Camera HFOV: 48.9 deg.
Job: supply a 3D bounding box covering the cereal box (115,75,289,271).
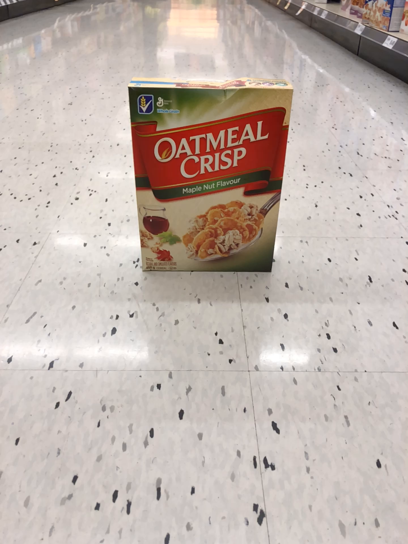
[{"bbox_3d":[-0.005,-0.123,0.610,0.200,0.258,0.050,0,34,-2],"label":"cereal box"}]
